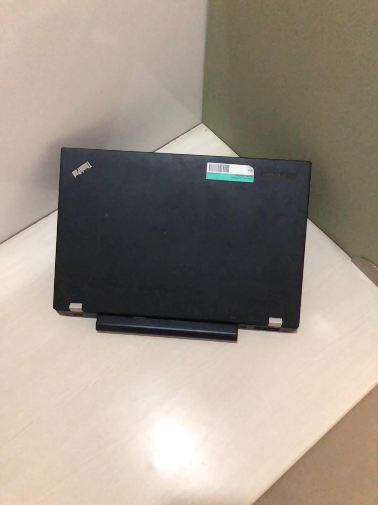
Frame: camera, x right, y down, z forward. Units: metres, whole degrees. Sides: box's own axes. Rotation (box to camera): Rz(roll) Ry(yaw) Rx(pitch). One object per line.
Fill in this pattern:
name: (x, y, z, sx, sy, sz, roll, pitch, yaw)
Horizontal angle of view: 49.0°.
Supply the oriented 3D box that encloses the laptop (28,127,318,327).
laptop: (-0.012, -0.037, 0.615, 0.354, 0.140, 0.233, 4, 64, 4)
